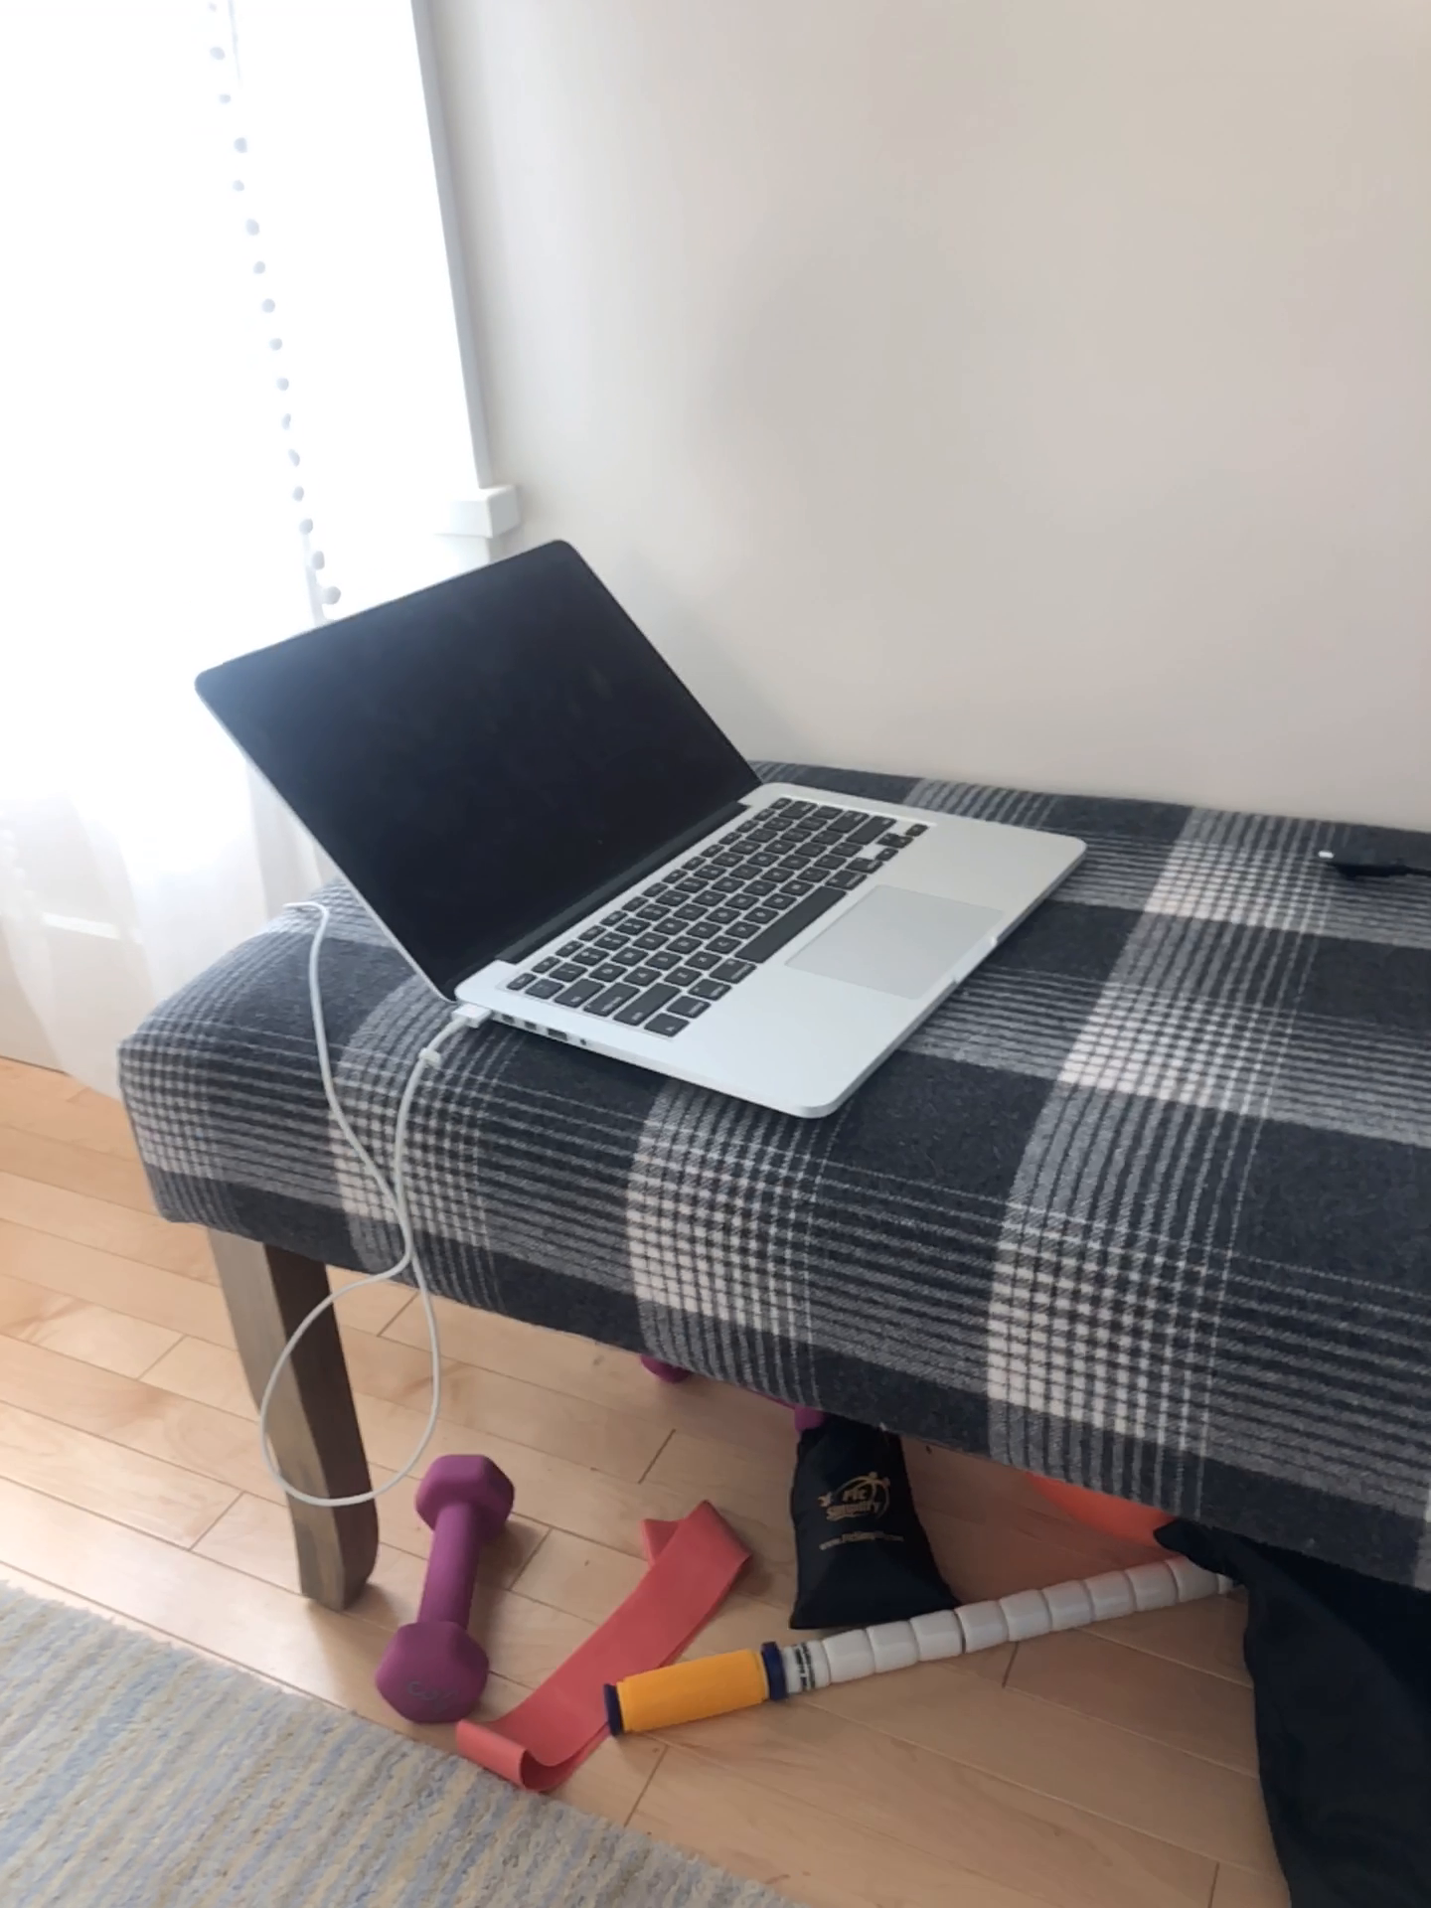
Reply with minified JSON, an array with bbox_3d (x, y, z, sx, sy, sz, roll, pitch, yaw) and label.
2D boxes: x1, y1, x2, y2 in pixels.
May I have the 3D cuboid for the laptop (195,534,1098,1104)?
[{"bbox_3d":[-0.026,-0.105,0.849,0.366,0.142,0.308,14,33,31],"label":"laptop"}]
